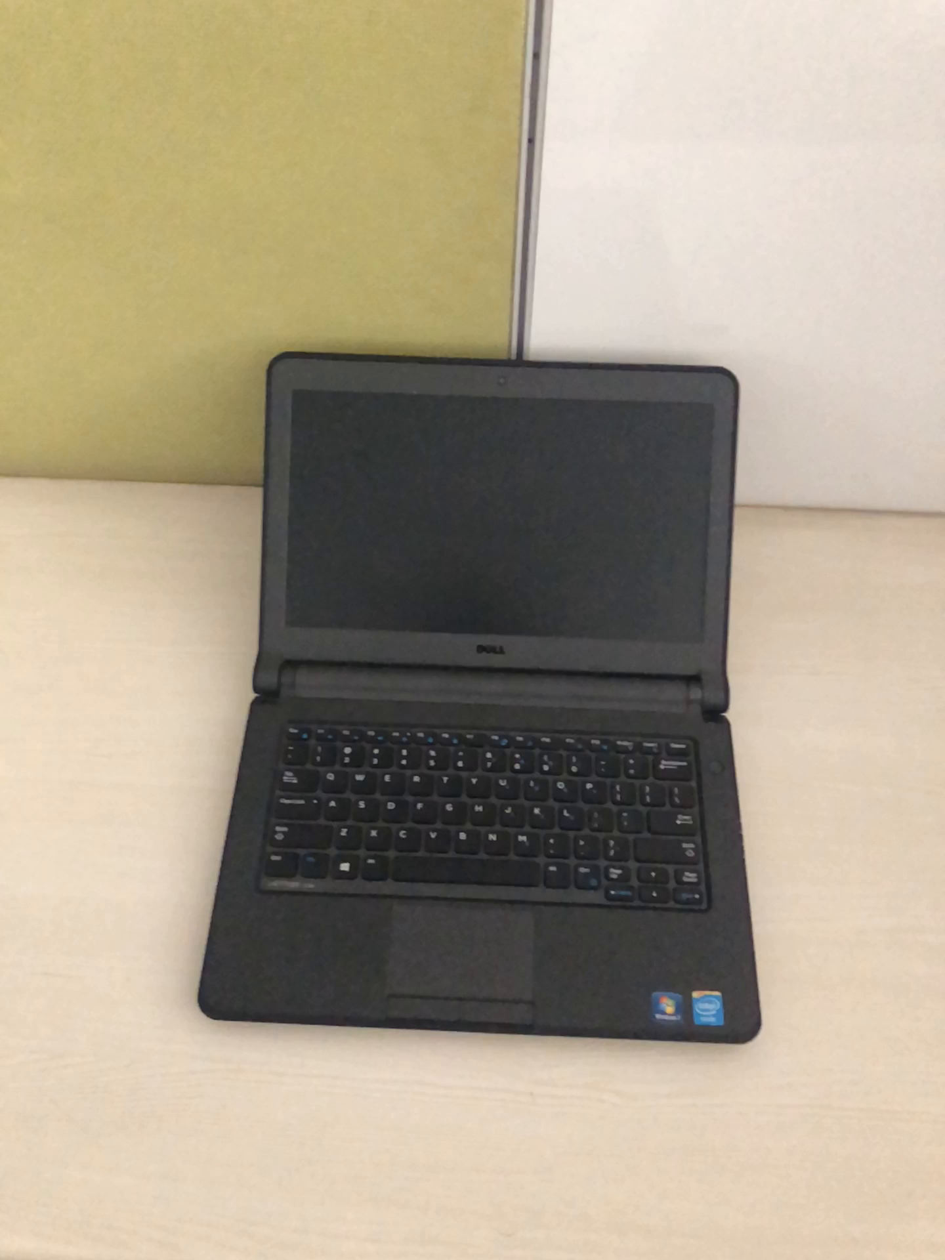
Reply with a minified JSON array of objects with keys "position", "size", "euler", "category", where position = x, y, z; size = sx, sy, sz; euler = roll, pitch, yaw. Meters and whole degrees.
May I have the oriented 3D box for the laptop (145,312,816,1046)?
[{"position":[0.011,0.011,0.642],"size":[0.316,0.123,0.417],"euler":[3,60,1],"category":"laptop"}]
